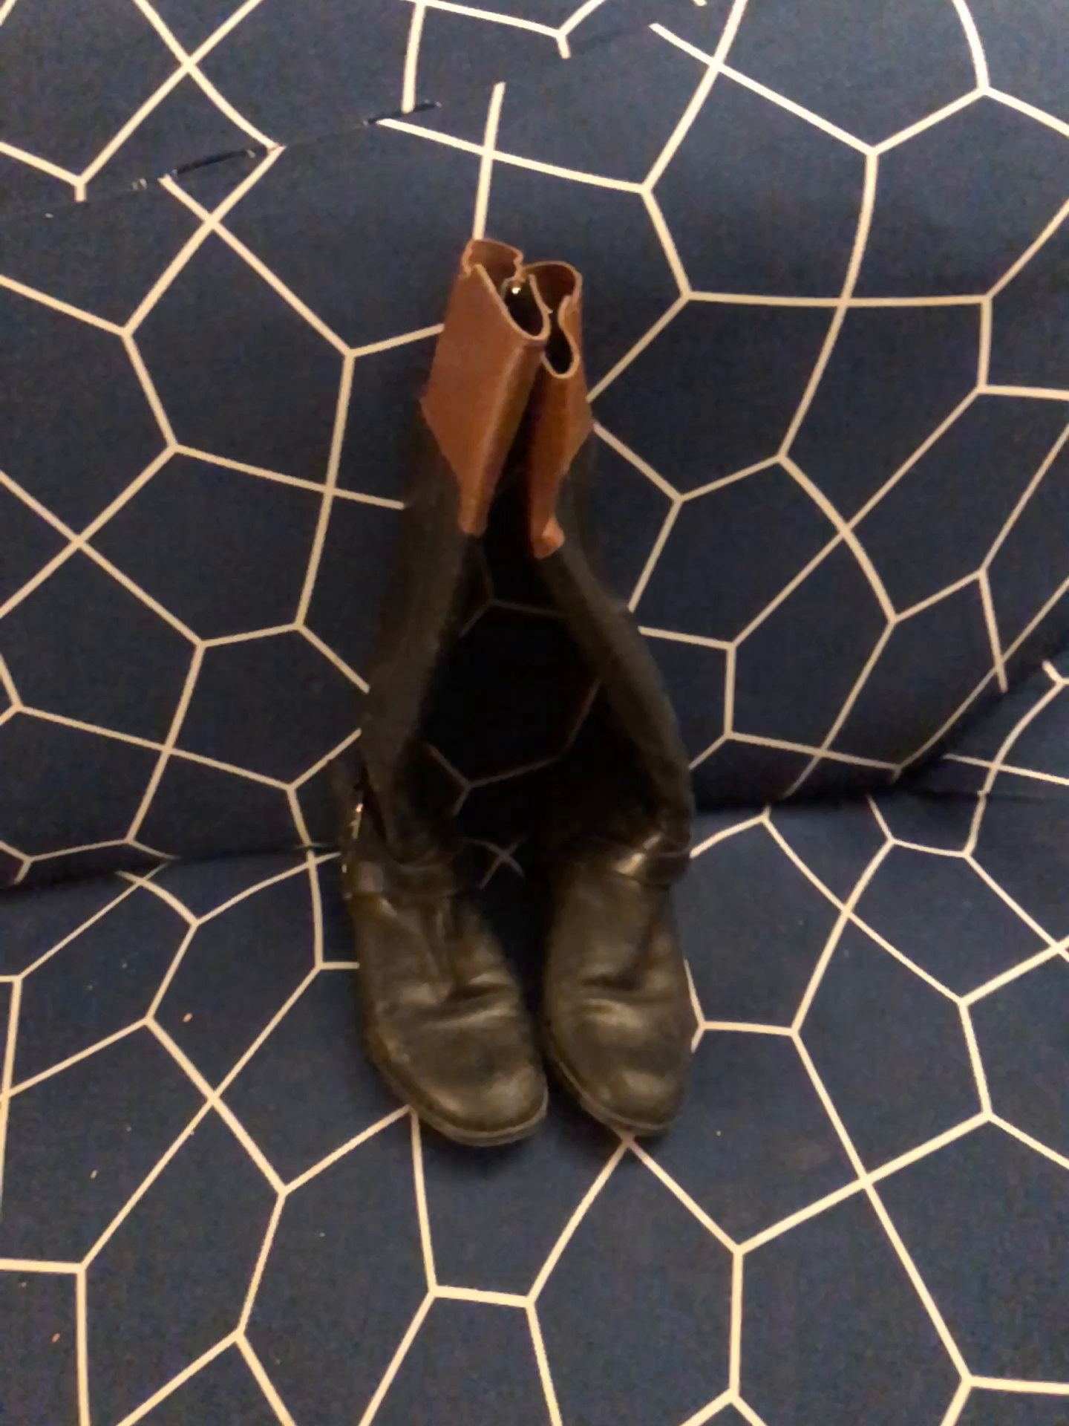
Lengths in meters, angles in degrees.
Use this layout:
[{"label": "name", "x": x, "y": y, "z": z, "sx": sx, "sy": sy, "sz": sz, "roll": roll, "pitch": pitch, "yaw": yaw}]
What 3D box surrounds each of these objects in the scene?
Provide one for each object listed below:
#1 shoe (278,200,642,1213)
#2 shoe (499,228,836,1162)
[{"label": "shoe", "x": -0.050, "y": 0.008, "z": 0.593, "sx": 0.110, "sy": 0.427, "sz": 0.272, "roll": -5, "pitch": 40, "yaw": -8}, {"label": "shoe", "x": 0.040, "y": 0.004, "z": 0.568, "sx": 0.100, "sy": 0.377, "sz": 0.252, "roll": 0, "pitch": 42, "yaw": 0}]
